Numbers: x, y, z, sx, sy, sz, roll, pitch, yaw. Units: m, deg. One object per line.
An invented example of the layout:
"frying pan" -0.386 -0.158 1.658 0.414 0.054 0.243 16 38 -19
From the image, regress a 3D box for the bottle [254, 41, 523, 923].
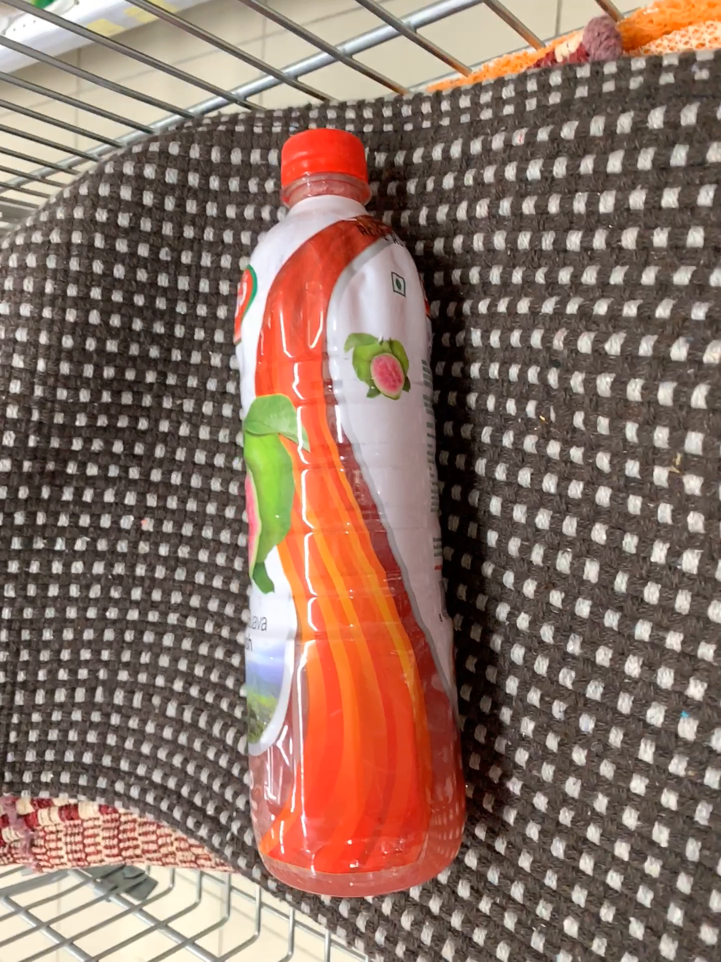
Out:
"bottle" 0.001 -0.004 0.240 0.070 0.070 0.240 0 83 -8
